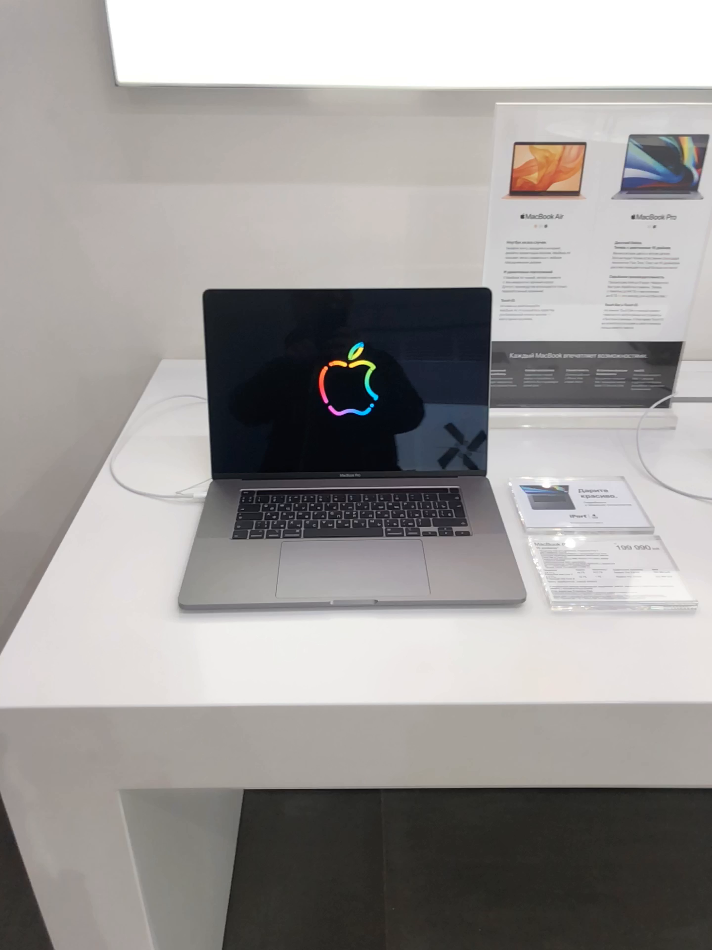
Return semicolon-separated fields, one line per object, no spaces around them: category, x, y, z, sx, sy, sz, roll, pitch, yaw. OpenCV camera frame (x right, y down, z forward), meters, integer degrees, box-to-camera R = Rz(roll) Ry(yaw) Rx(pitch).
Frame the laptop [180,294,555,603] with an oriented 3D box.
laptop;0.006;-0.046;0.862;0.327;0.209;0.311;-1;31;-2
